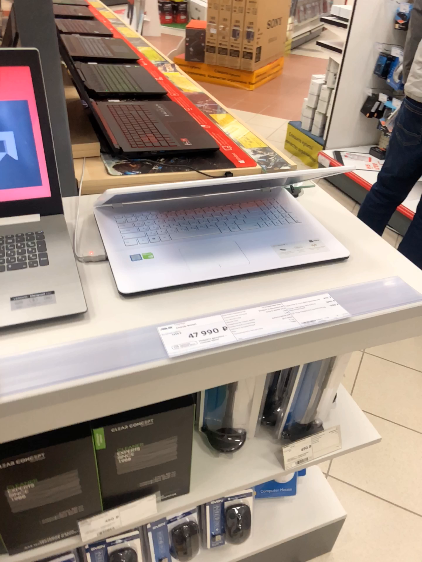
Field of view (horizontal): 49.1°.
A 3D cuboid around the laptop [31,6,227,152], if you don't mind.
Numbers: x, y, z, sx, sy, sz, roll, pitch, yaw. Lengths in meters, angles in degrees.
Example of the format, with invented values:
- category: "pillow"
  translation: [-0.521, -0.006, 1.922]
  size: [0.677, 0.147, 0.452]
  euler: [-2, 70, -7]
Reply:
- category: "laptop"
  translation: [-0.221, -0.509, 1.149]
  size: [0.366, 0.220, 0.379]
  euler: [-6, 40, -15]

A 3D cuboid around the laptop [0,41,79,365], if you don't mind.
- category: "laptop"
  translation: [-0.430, -0.137, 0.609]
  size: [0.392, 0.262, 0.338]
  euler: [-11, 38, -22]

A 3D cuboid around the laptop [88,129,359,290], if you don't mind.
- category: "laptop"
  translation: [0.009, -0.148, 0.809]
  size: [0.391, 0.142, 0.258]
  euler: [-10, 38, -21]
